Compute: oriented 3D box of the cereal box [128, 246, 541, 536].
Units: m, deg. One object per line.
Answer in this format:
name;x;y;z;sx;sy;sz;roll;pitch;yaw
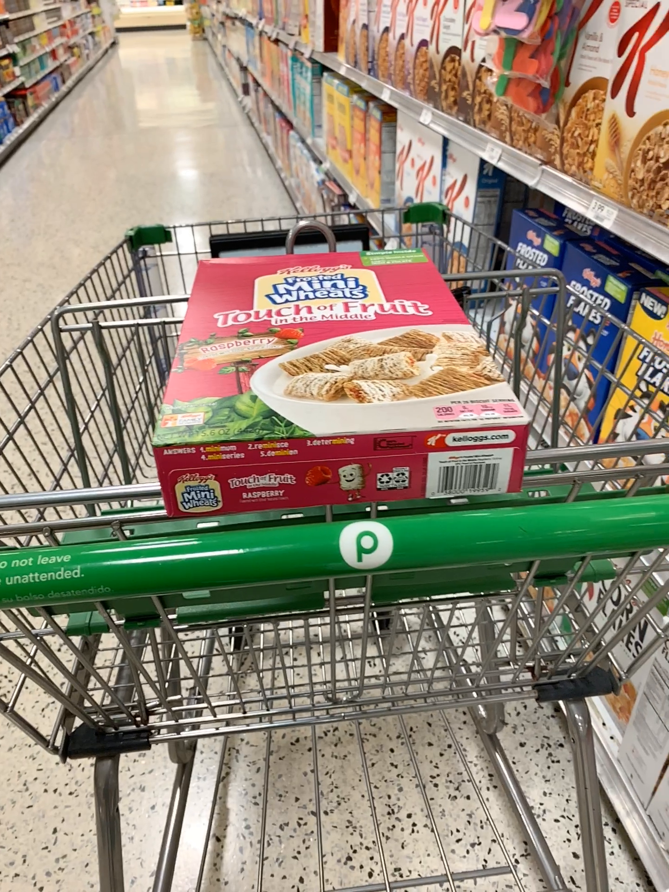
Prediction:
cereal box;-0.010;-0.062;0.468;0.200;0.049;0.293;-4;34;-4
